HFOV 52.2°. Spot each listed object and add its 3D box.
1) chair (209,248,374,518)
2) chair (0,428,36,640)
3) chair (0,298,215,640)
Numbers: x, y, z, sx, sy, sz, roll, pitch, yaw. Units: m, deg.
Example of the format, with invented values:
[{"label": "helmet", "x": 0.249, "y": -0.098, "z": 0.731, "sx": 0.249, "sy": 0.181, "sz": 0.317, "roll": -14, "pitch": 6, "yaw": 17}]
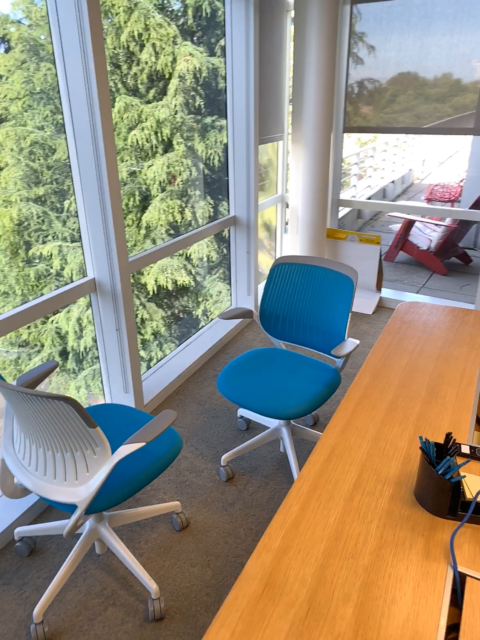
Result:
[{"label": "chair", "x": 0.265, "y": 0.281, "z": 2.504, "sx": 0.542, "sy": 1.094, "sz": 0.632, "roll": 14, "pitch": 28, "yaw": 29}, {"label": "chair", "x": -1.183, "y": 0.995, "z": 1.146, "sx": 0.871, "sy": 1.134, "sz": 0.733, "roll": 4, "pitch": 25, "yaw": 11}, {"label": "chair", "x": -0.538, "y": 0.553, "z": 1.742, "sx": 0.651, "sy": 1.015, "sz": 0.642, "roll": 9, "pitch": 26, "yaw": 21}]
